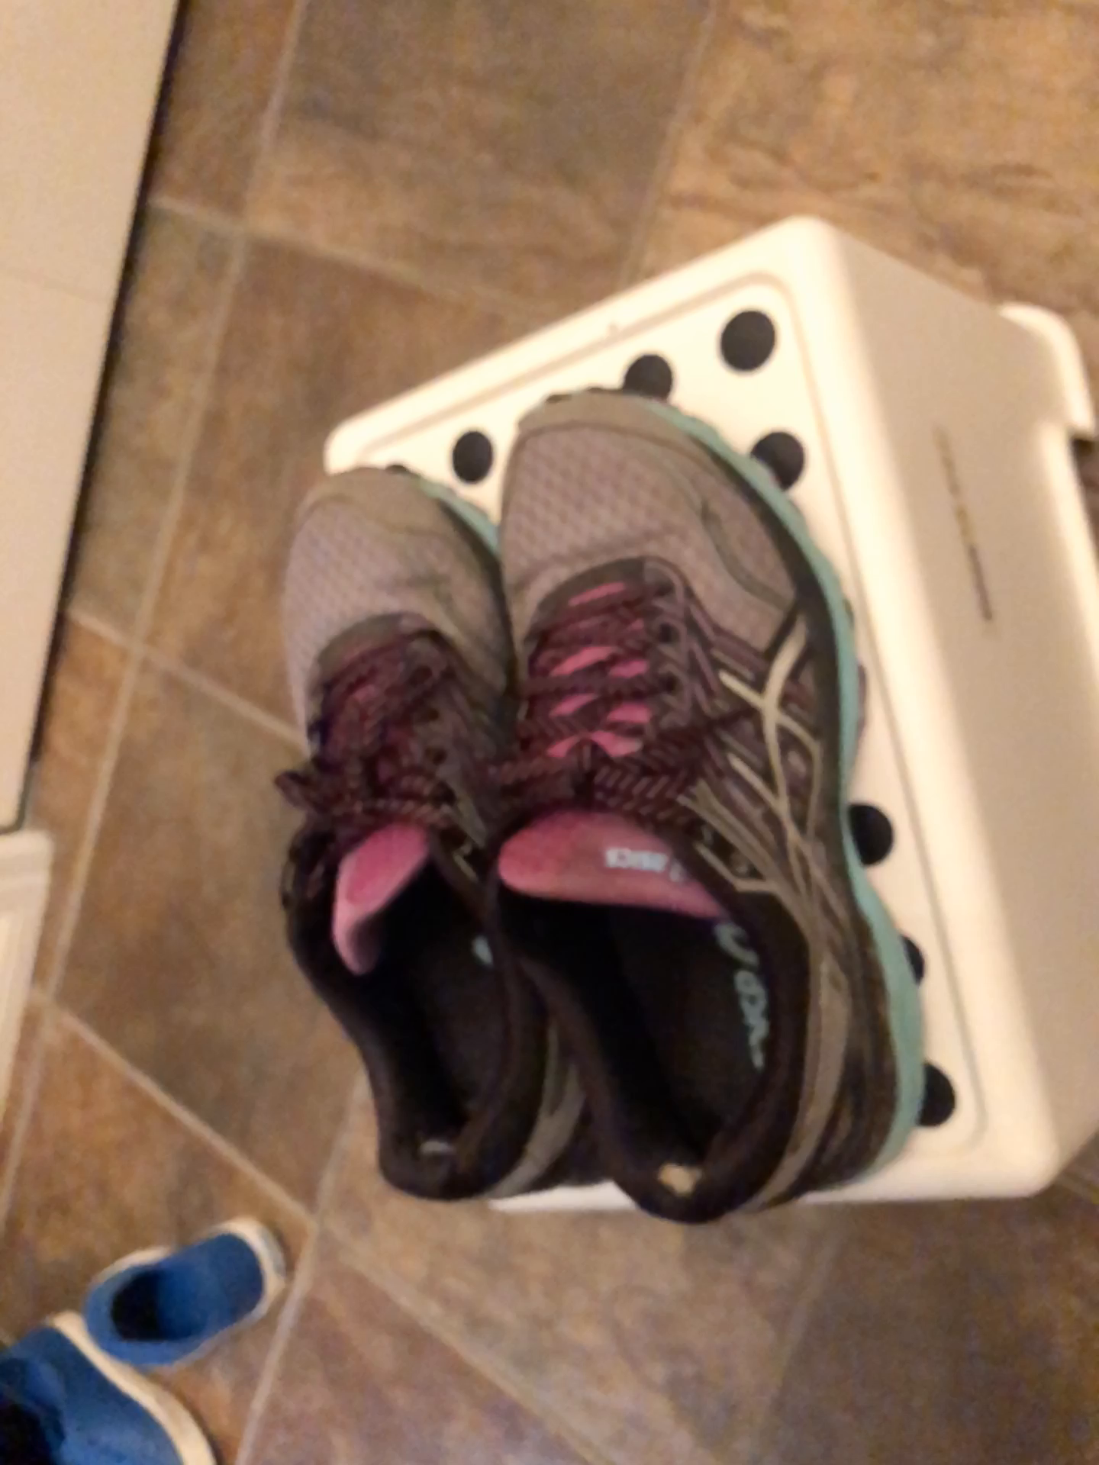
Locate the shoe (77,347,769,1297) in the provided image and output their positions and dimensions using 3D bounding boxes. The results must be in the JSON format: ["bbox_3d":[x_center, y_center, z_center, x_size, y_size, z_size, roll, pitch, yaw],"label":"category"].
[{"bbox_3d":[-0.041,0.027,0.414,0.110,0.120,0.260,-23,80,31],"label":"shoe"}]

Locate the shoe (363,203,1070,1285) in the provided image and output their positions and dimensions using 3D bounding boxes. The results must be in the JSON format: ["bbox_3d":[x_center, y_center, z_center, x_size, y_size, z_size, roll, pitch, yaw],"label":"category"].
[{"bbox_3d":[0.053,0.007,0.368,0.110,0.120,0.260,-17,84,31],"label":"shoe"}]
